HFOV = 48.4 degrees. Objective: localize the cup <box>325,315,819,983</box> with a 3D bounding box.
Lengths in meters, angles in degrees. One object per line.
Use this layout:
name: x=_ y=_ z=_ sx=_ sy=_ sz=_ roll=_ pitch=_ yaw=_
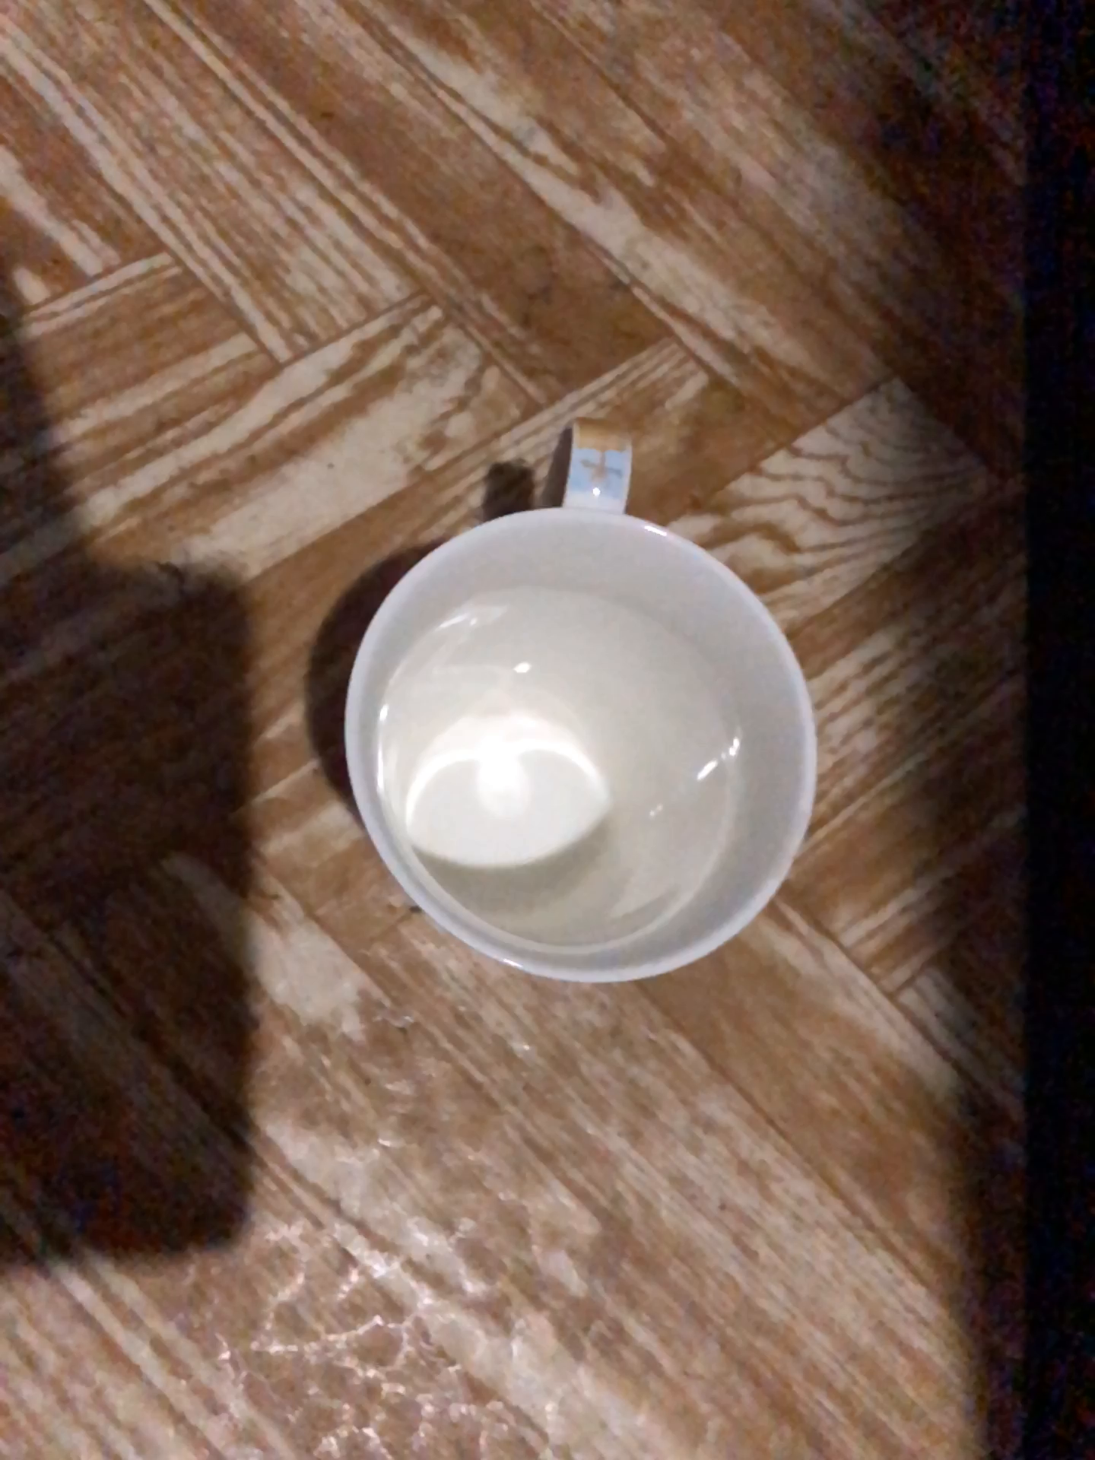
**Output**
cup: x=-0.002 y=-0.006 z=0.251 sx=0.079 sy=0.090 sz=0.111 roll=4 pitch=76 yaw=-11
